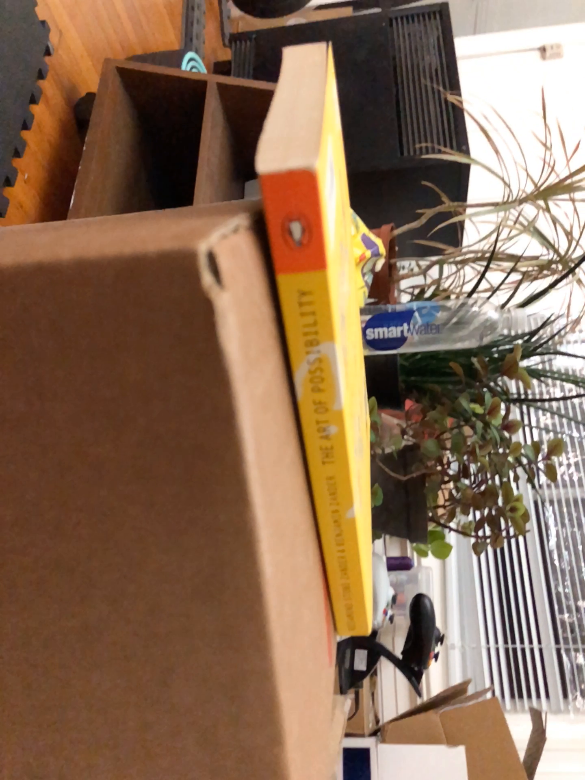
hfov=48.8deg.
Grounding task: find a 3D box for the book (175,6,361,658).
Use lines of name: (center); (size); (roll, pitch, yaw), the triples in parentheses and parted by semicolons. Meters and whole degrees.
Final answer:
book: (0.008, -0.019, 0.257); (0.150, 0.020, 0.210); (-83, 165, -50)
